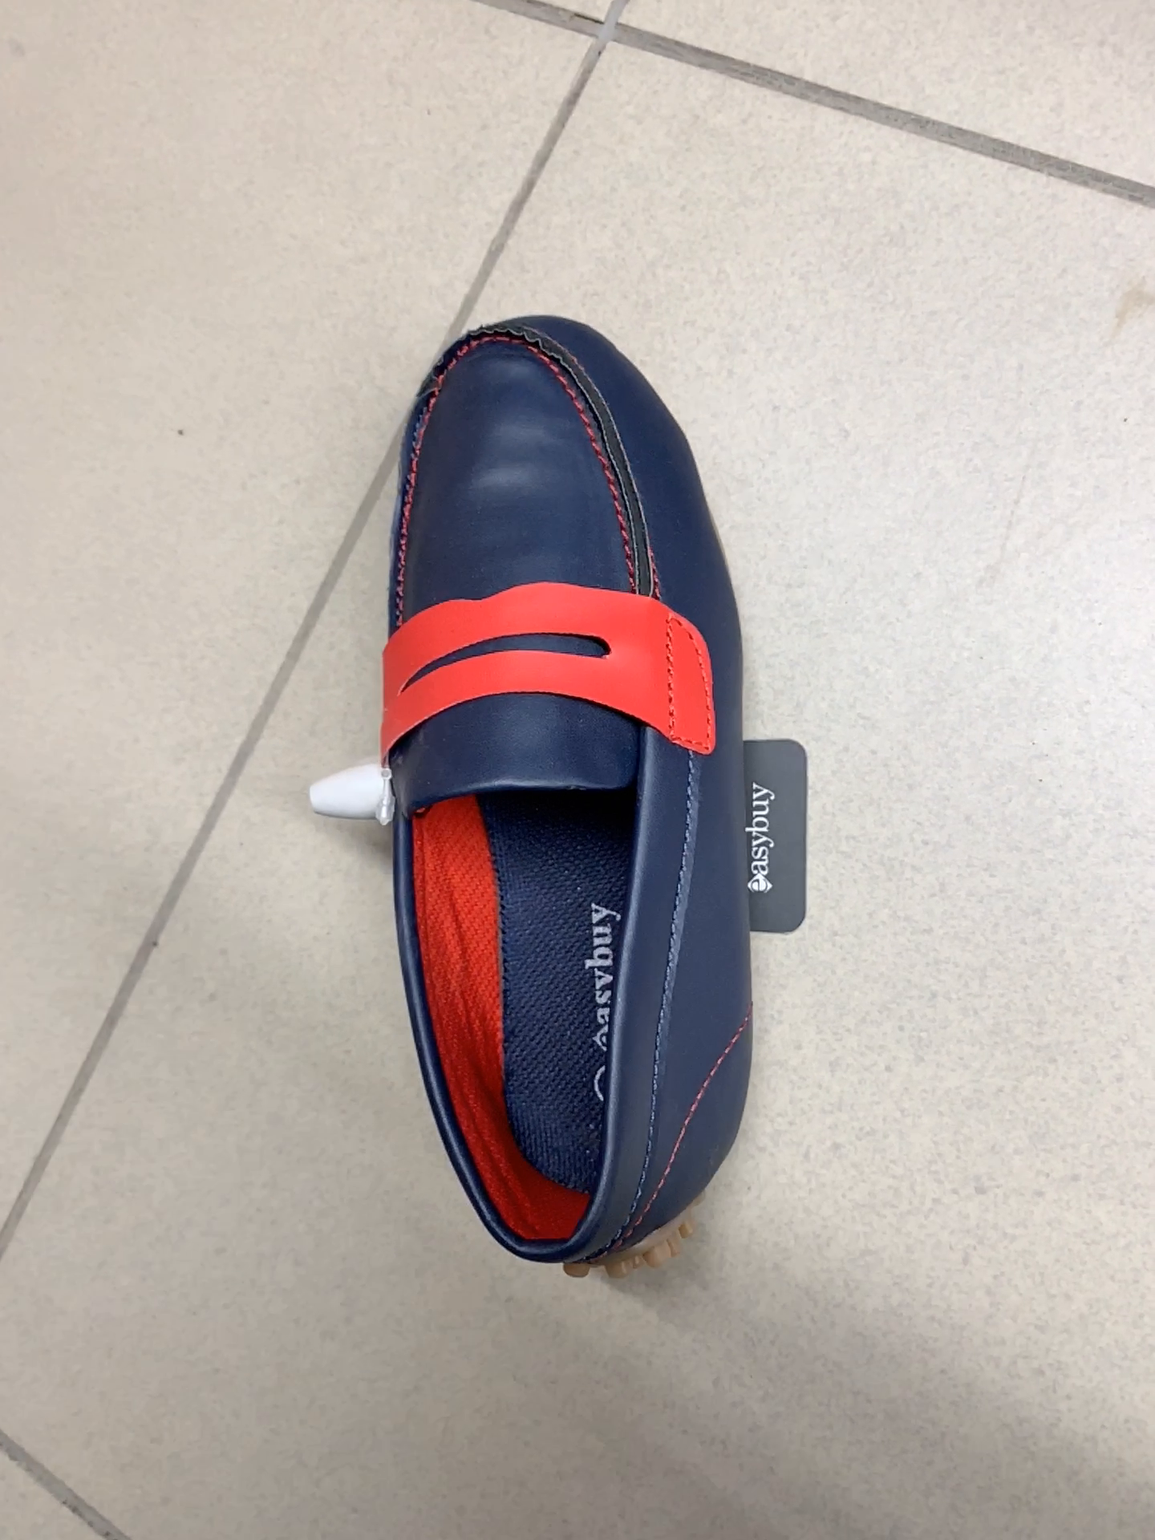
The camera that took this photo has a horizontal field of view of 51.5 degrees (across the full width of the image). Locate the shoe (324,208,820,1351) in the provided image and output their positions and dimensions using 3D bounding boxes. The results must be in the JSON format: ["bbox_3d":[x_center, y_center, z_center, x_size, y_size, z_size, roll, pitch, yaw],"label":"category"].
[{"bbox_3d":[-0.001,0.002,0.243,0.080,0.050,0.200,-5,83,15],"label":"shoe"}]
